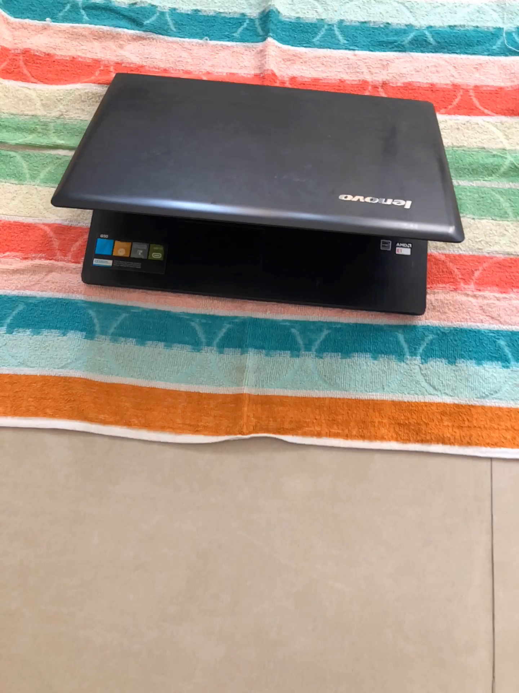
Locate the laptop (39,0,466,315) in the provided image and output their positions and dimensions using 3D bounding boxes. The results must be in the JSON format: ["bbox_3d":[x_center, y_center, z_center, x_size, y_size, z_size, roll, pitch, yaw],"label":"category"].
[{"bbox_3d":[0.005,-0.188,0.584,0.363,0.126,0.253,6,72,0],"label":"laptop"}]
